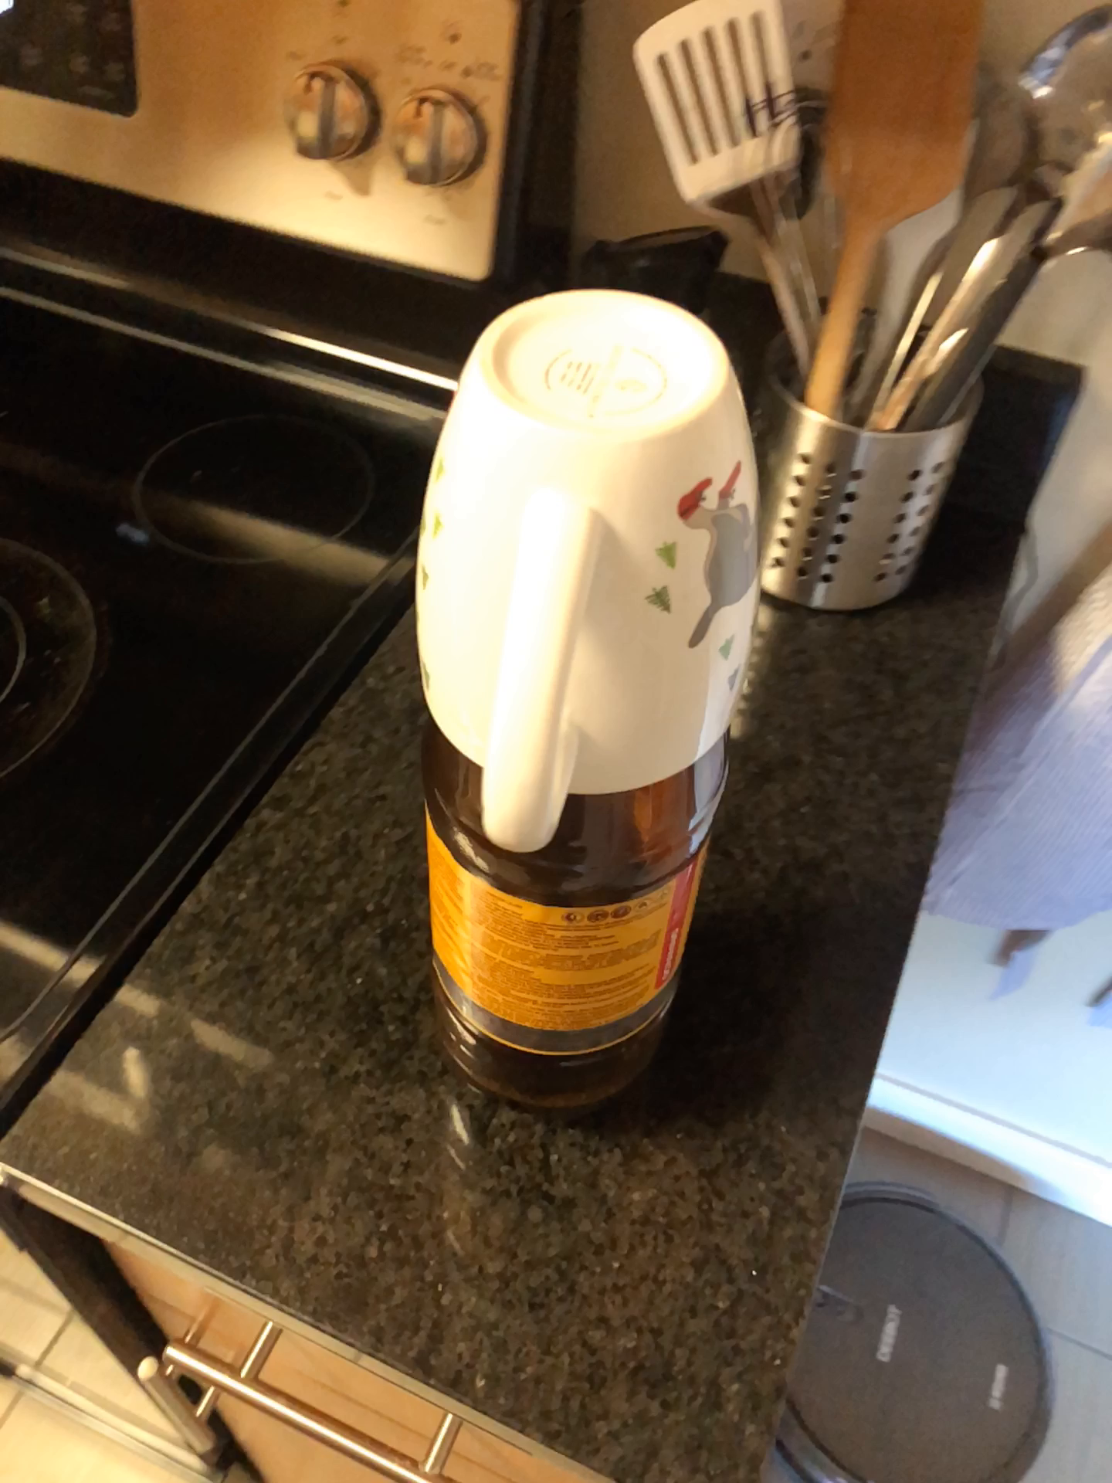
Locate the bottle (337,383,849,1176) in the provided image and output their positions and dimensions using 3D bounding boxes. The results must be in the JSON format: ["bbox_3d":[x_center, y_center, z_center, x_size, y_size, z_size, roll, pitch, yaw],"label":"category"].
[{"bbox_3d":[0.002,0.032,0.441,0.100,0.279,0.100,2,49,-2],"label":"bottle"}]
